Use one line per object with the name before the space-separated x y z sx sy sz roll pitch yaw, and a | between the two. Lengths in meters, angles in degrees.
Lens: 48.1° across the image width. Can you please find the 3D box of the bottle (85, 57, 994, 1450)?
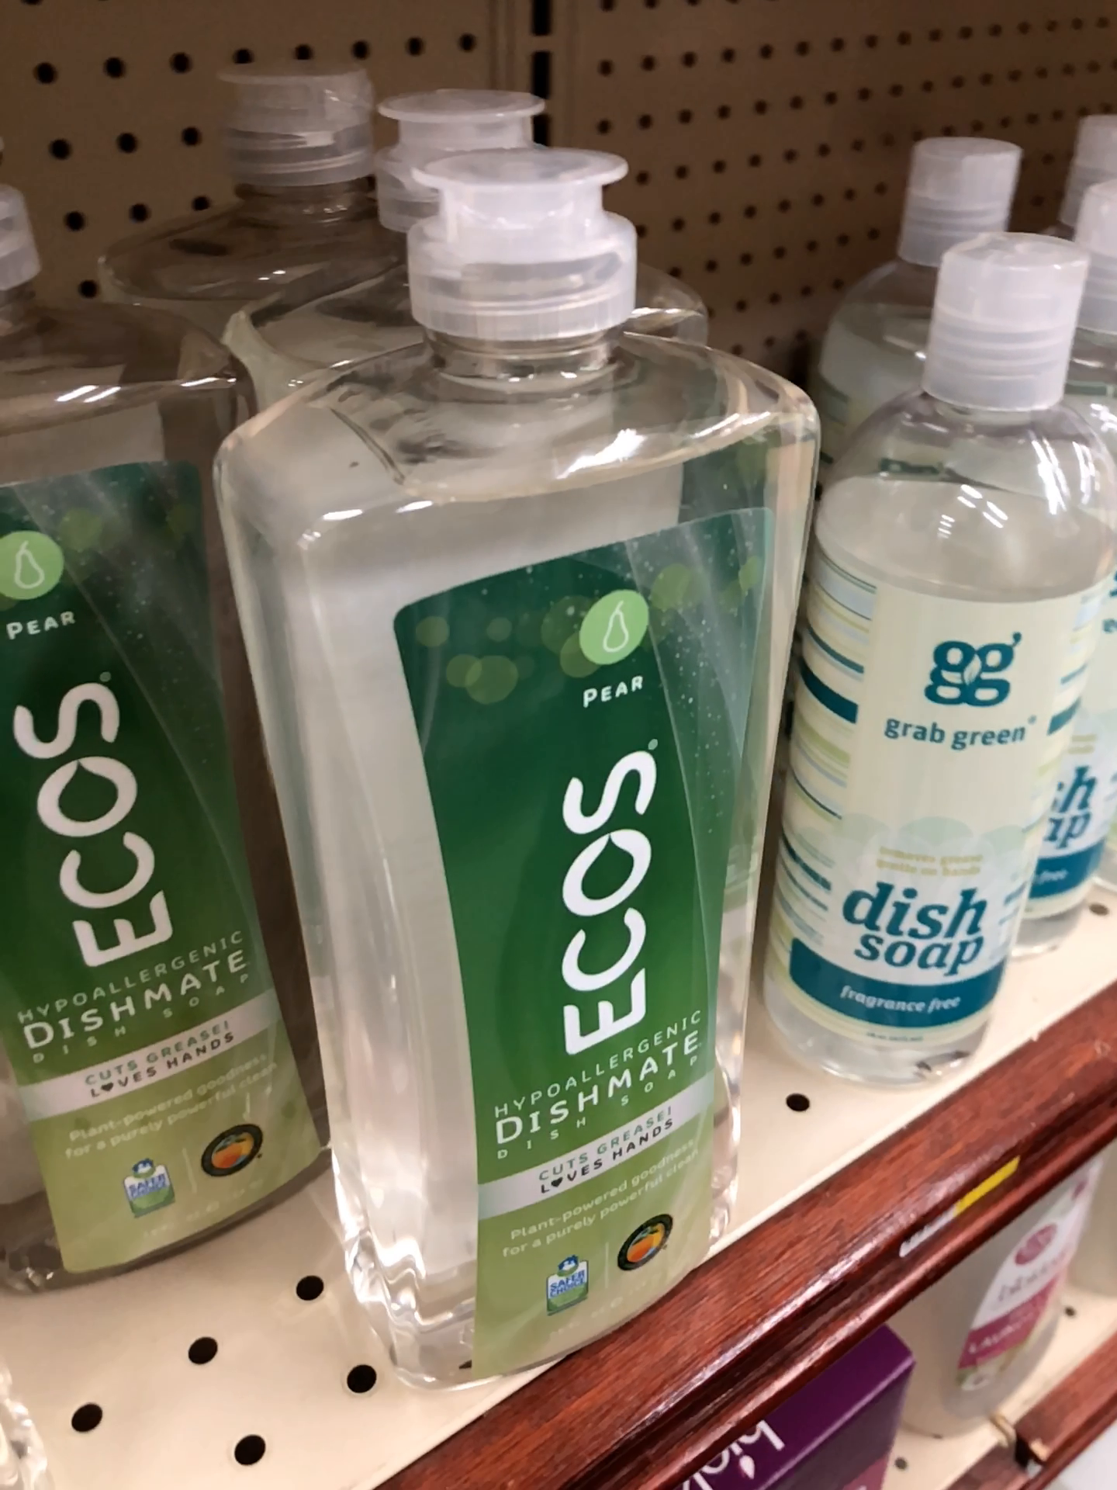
bottle | -0.003 0.018 0.211 0.092 0.226 0.050 -19 41 -25
